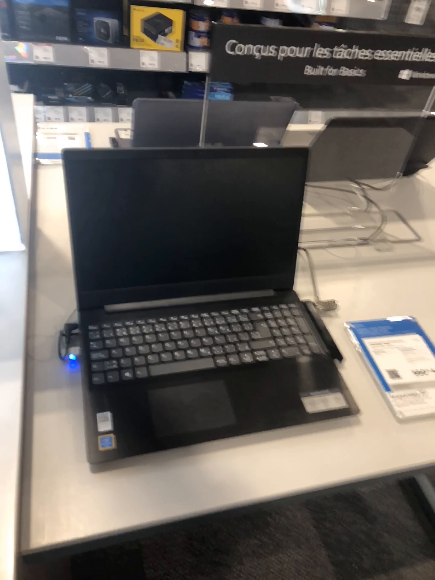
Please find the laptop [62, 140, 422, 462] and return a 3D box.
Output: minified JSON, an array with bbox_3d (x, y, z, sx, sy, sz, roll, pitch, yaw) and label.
[{"bbox_3d":[-0.007,-0.013,0.623,0.346,0.213,0.324,-5,46,-15],"label":"laptop"}]
